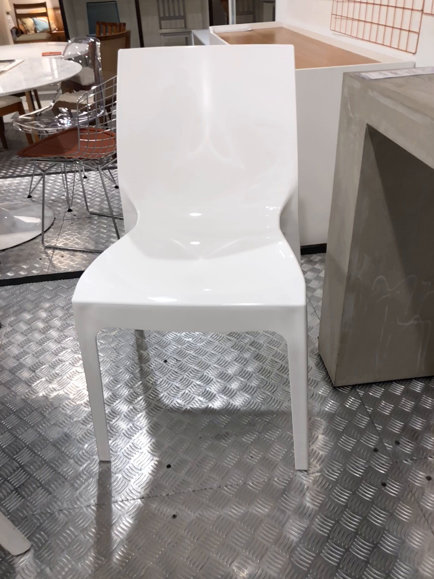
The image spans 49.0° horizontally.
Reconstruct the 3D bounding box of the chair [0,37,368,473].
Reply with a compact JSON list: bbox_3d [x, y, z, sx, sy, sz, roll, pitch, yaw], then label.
[{"bbox_3d":[-0.027,-0.086,1.053,0.520,0.764,0.544,1,34,6],"label":"chair"}]
